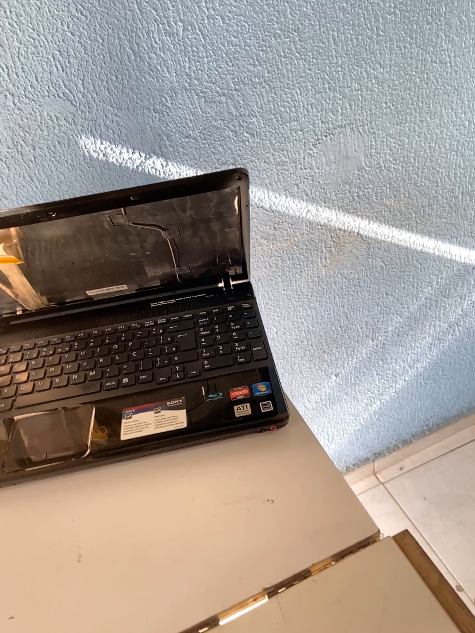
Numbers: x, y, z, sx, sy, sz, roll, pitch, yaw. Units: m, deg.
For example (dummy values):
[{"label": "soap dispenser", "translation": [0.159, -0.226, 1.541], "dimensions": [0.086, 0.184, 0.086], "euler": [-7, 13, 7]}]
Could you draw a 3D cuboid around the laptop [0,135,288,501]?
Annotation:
[{"label": "laptop", "translation": [-0.161, -0.015, 0.501], "dimensions": [0.364, 0.193, 0.243], "euler": [-11, 38, -2]}]
